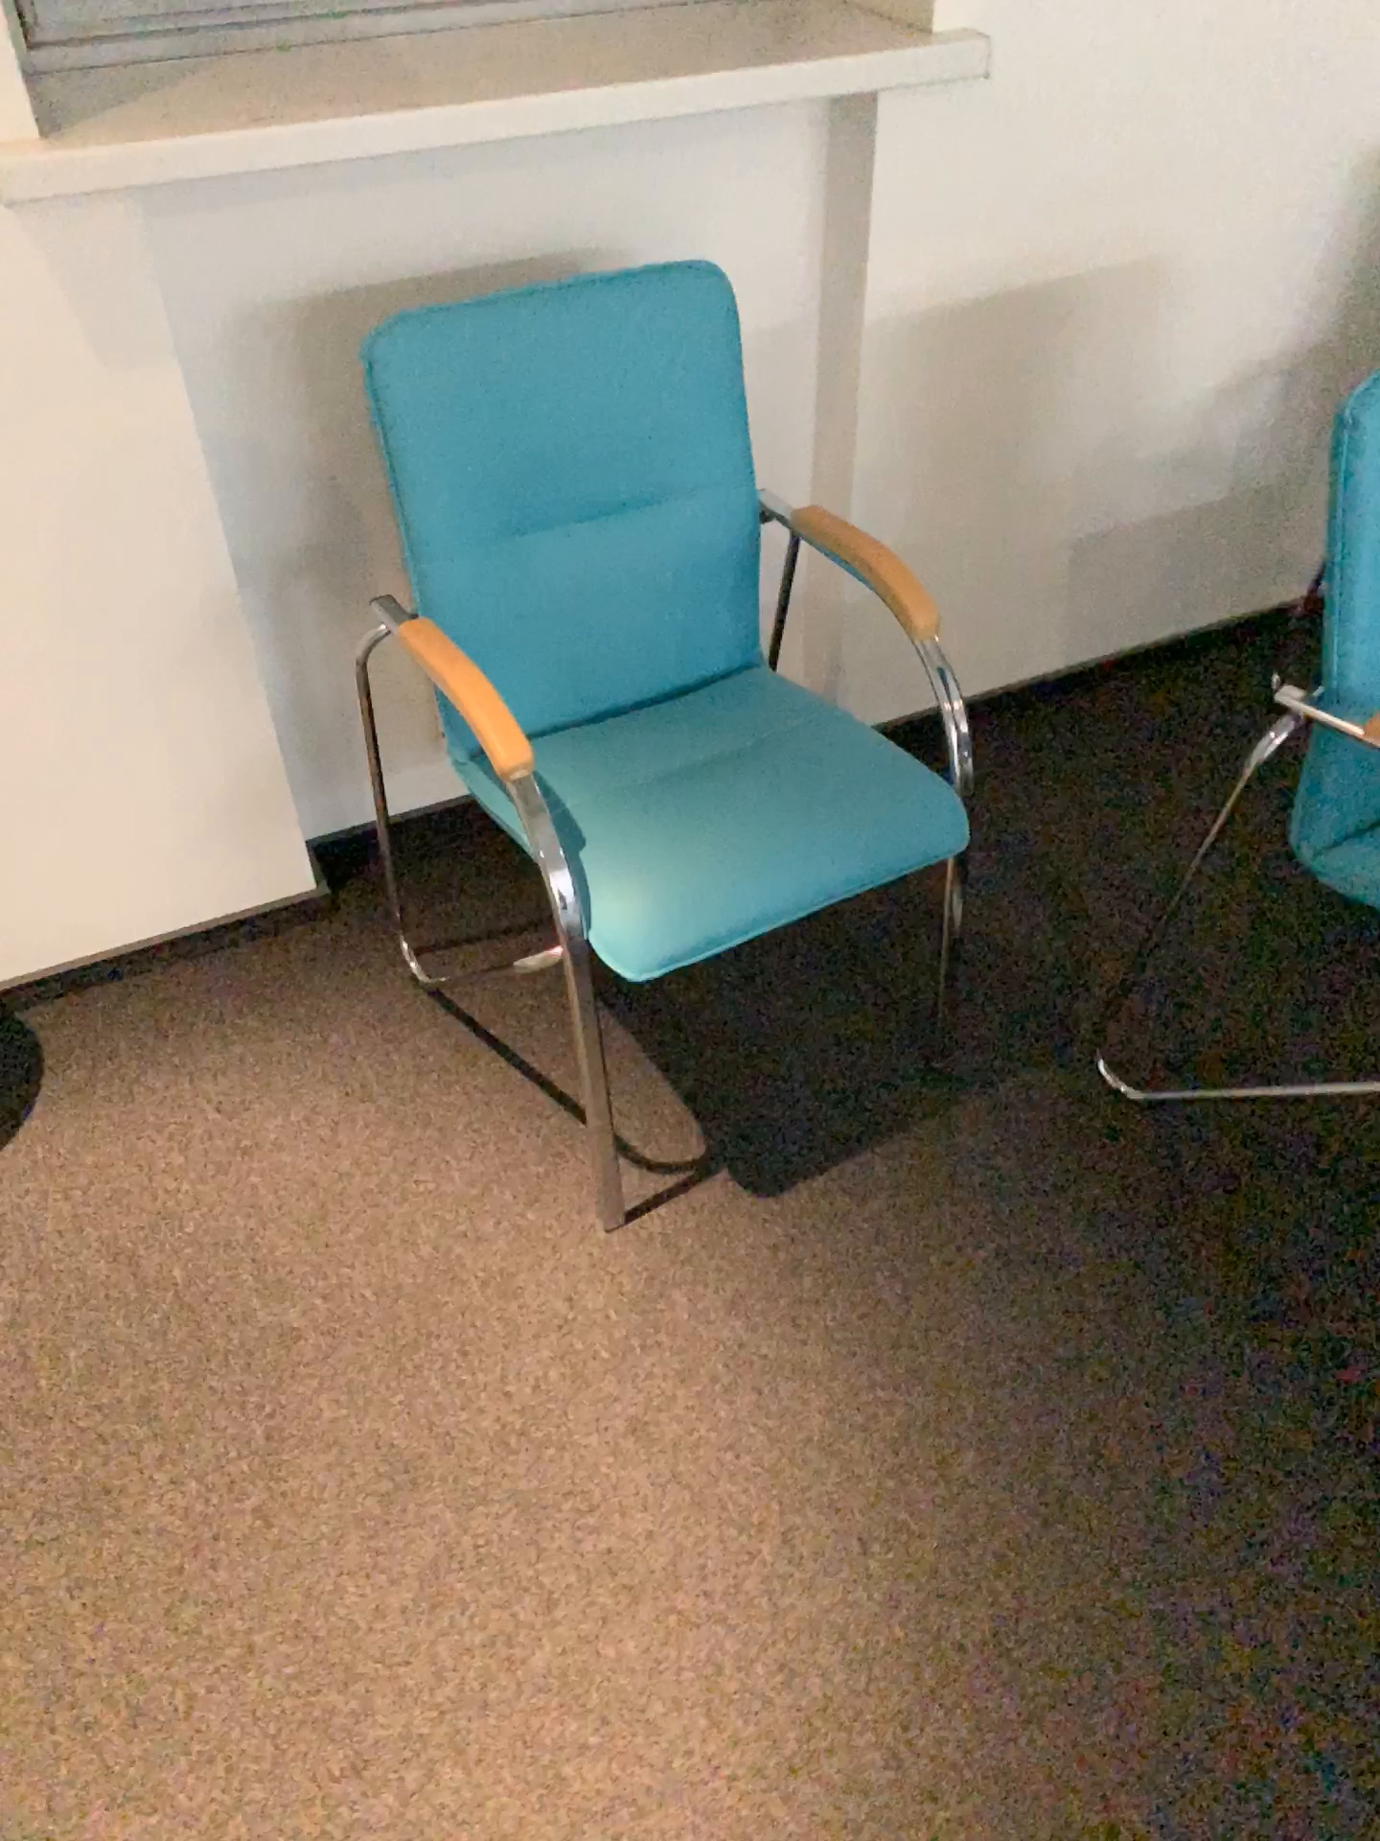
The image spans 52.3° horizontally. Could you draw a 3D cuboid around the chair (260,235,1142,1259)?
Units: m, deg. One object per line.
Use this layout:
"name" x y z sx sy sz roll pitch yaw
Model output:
"chair" -0.011 -0.216 1.663 0.631 0.855 0.632 -22 46 -21
